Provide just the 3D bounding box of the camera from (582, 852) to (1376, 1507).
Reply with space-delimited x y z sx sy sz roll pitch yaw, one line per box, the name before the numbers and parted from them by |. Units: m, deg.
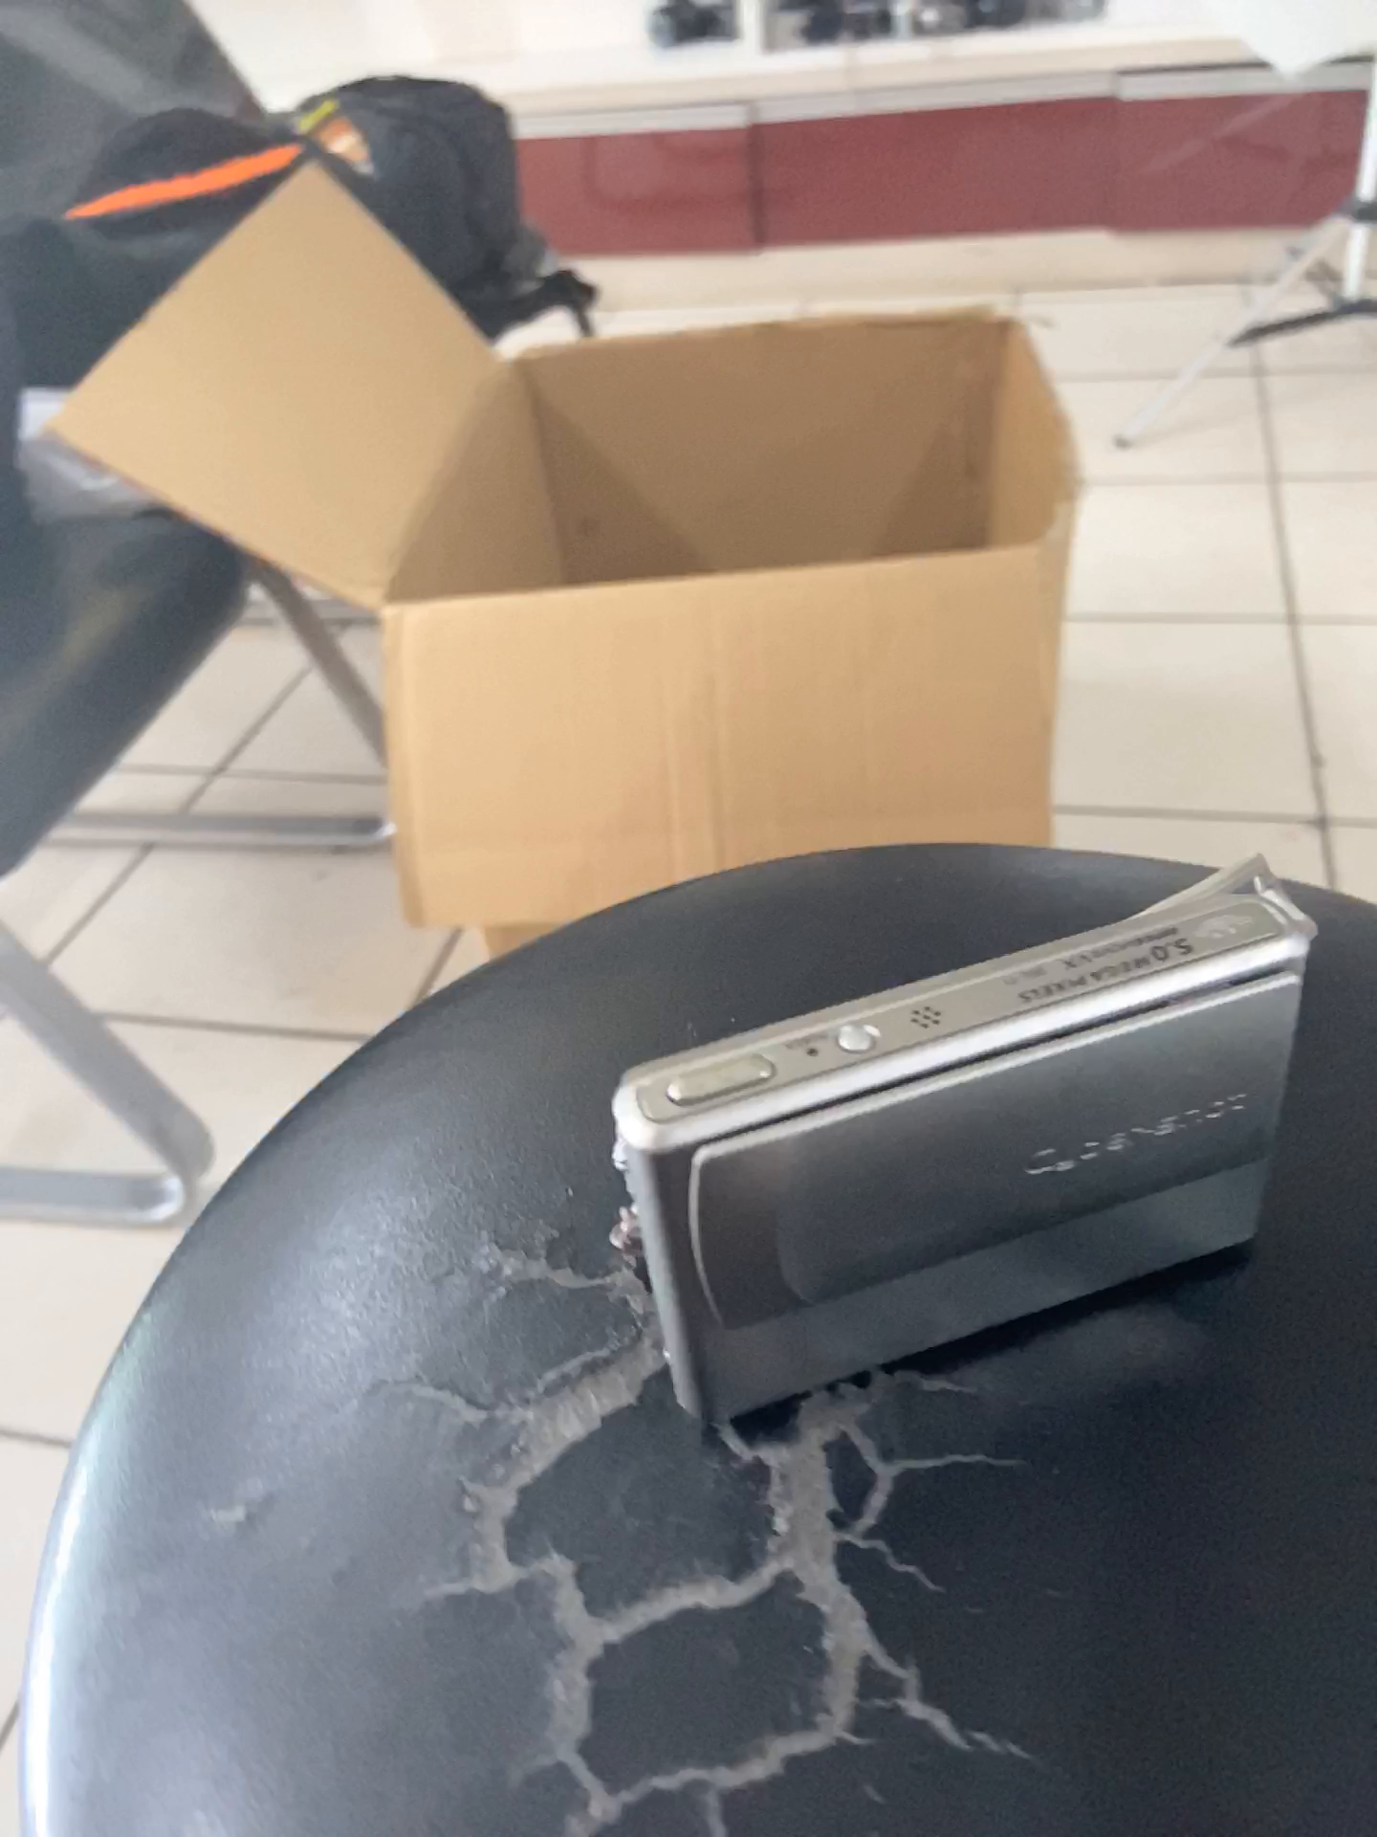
camera | 0.041 0.036 0.202 0.100 0.060 0.030 -17 39 -10
